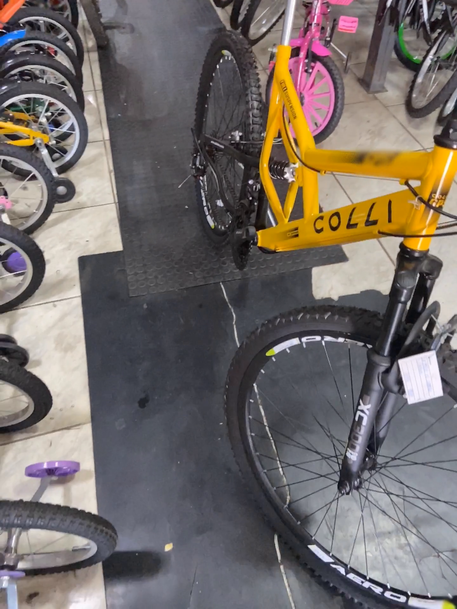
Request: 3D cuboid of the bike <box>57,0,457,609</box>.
[{"bbox_3d":[0.141,-0.278,0.921,0.476,0.987,1.526,-17,50,-12],"label":"bike"}]
